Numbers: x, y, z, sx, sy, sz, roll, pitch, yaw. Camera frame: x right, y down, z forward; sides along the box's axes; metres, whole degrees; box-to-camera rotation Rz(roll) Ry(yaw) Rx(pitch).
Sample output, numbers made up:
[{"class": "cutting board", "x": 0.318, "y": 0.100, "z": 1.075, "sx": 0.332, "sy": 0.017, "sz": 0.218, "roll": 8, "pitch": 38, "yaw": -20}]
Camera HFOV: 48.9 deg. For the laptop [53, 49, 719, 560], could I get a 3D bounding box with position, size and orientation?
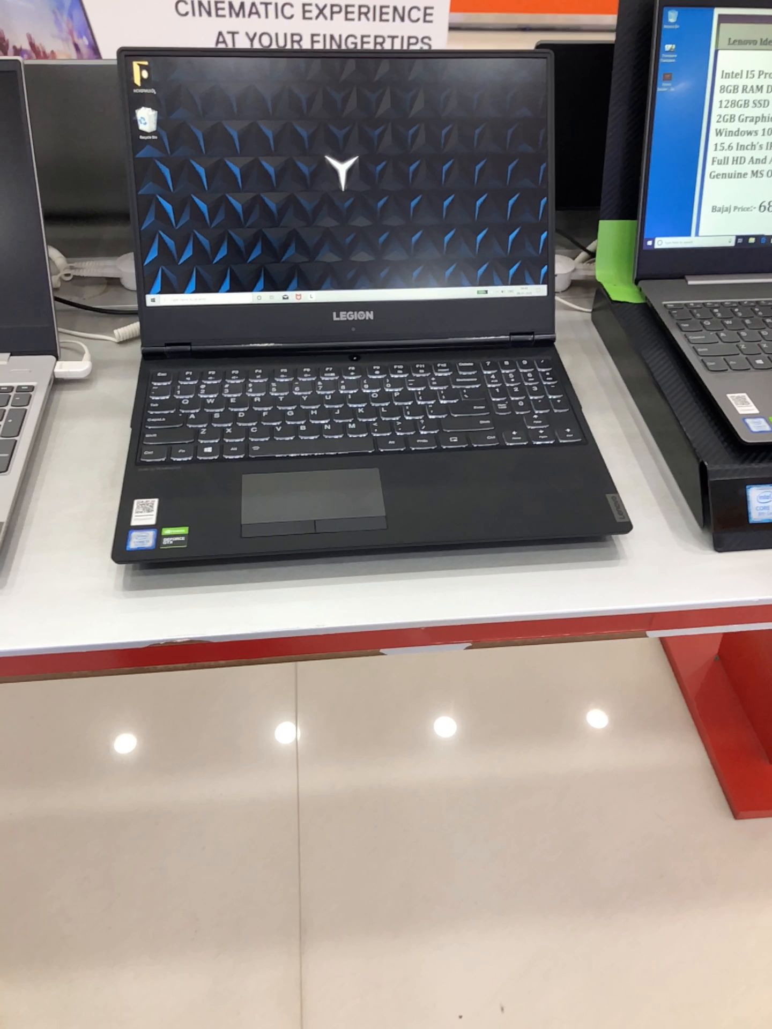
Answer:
[{"class": "laptop", "x": -0.016, "y": -0.172, "z": 0.611, "sx": 0.334, "sy": 0.191, "sz": 0.349, "roll": -3, "pitch": 45, "yaw": -7}]
